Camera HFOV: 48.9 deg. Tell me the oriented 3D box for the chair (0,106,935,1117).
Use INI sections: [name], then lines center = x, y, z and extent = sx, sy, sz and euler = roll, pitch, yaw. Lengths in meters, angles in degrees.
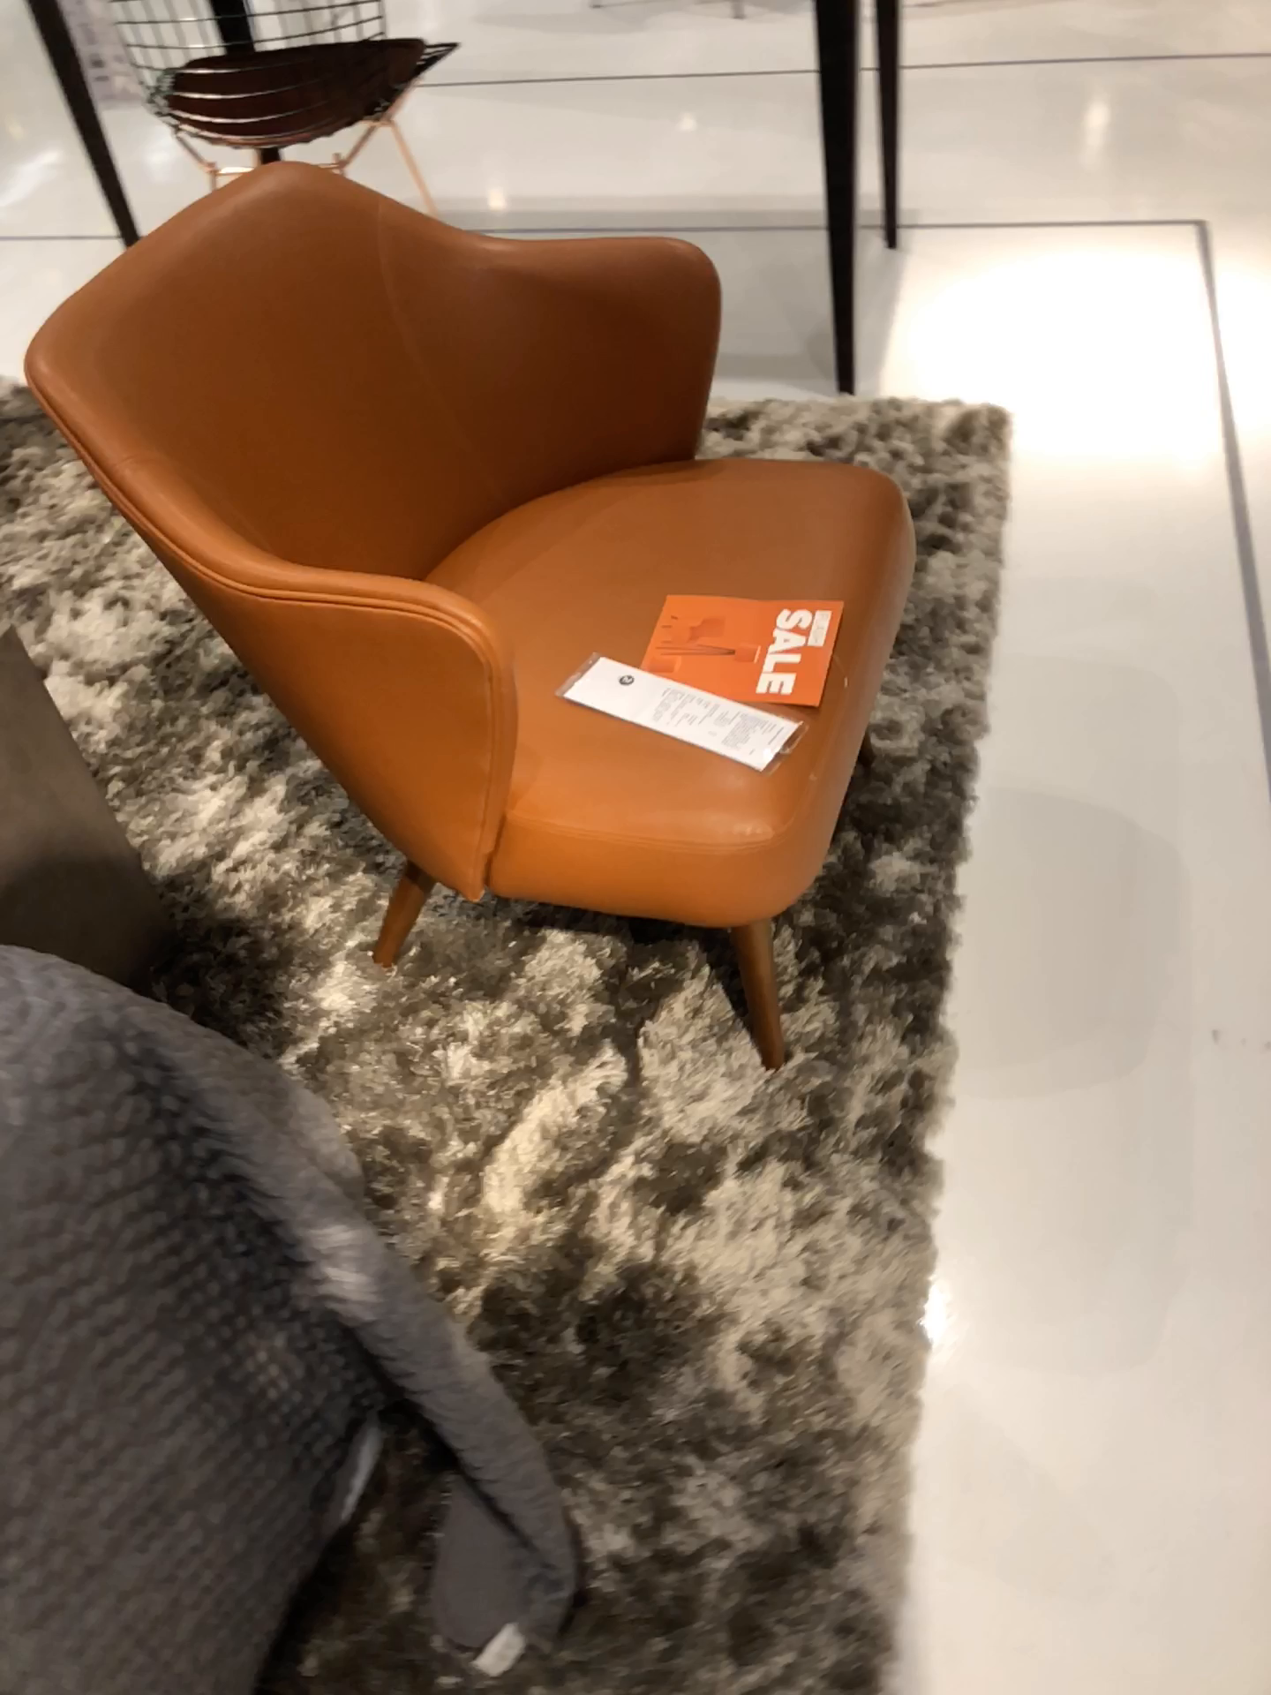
[chair]
center = -0.098, -0.245, 1.378
extent = 0.651, 0.704, 0.594
euler = 9, 48, 17
